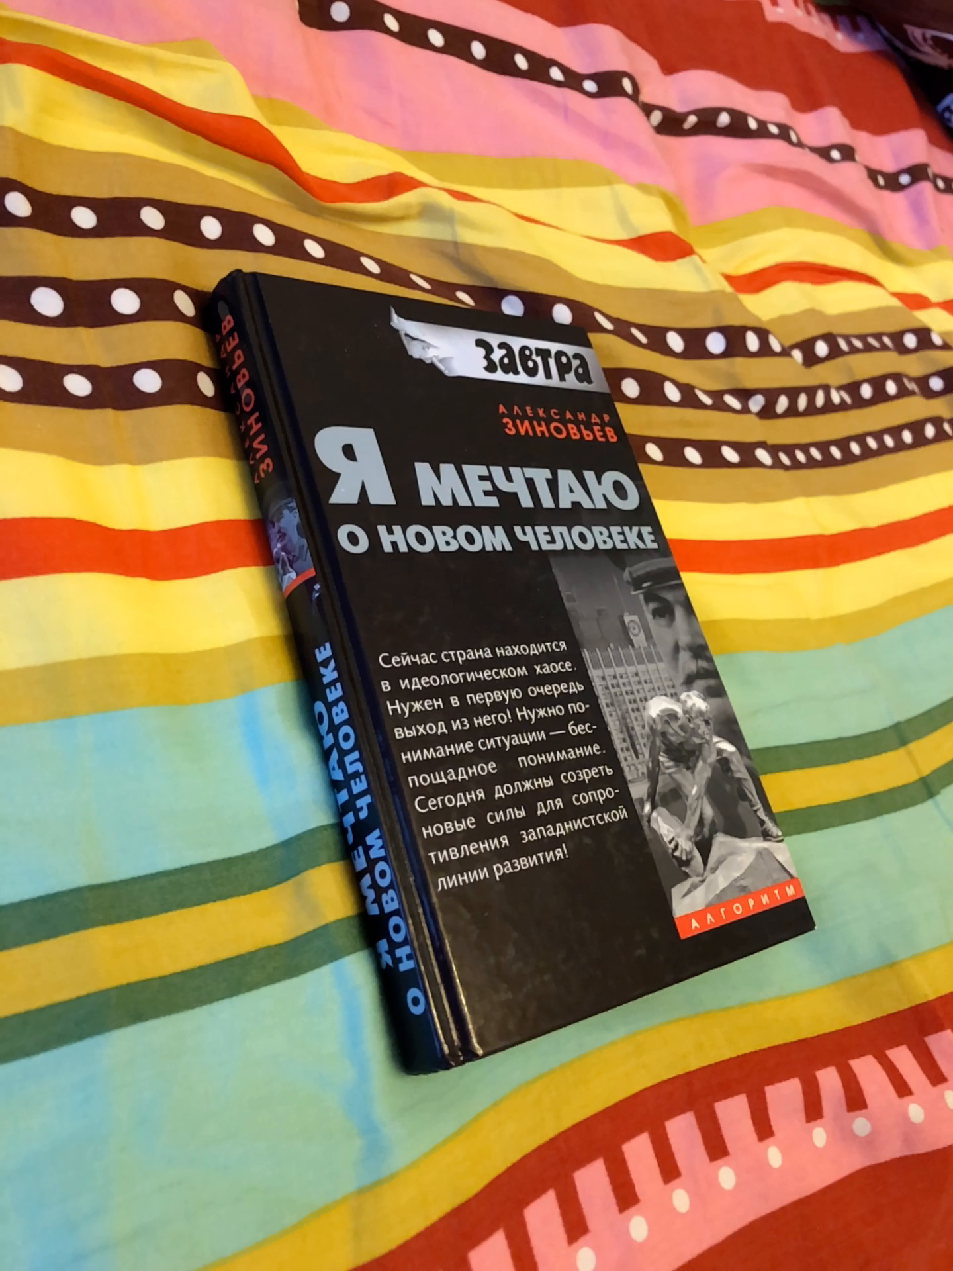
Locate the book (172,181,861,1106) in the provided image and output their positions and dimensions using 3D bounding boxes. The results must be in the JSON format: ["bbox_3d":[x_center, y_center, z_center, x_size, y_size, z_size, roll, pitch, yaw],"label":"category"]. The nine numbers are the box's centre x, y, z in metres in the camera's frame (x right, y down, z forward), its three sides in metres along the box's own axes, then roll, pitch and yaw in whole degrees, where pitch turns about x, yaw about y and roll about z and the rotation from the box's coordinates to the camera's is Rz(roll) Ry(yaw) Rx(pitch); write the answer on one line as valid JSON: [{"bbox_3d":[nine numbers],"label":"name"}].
[{"bbox_3d":[0.011,-0.011,0.287,0.141,0.030,0.220,-4,69,-38],"label":"book"}]
